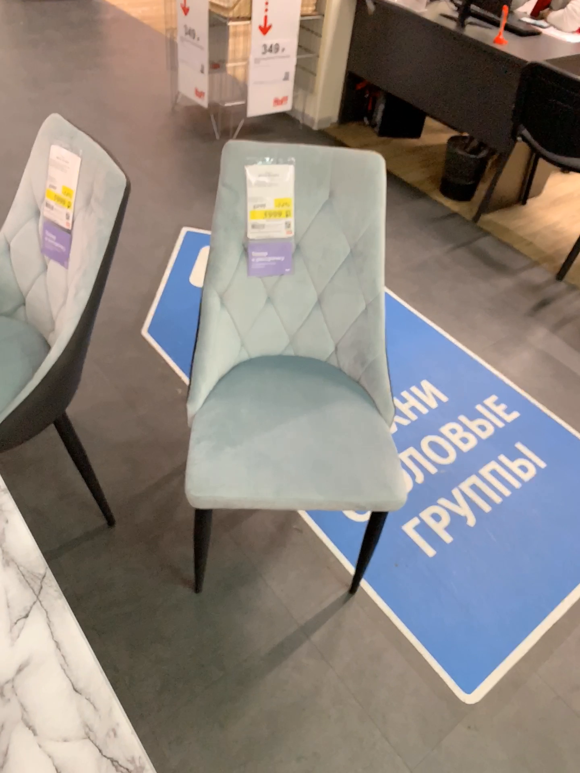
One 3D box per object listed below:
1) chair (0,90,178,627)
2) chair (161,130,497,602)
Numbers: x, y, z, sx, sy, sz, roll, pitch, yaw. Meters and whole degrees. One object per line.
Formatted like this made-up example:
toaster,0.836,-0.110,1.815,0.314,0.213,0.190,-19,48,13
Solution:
chair,-0.700,-0.066,1.353,0.667,0.881,0.570,-26,54,-30
chair,-0.002,0.009,1.329,0.470,0.886,0.552,3,45,-7
